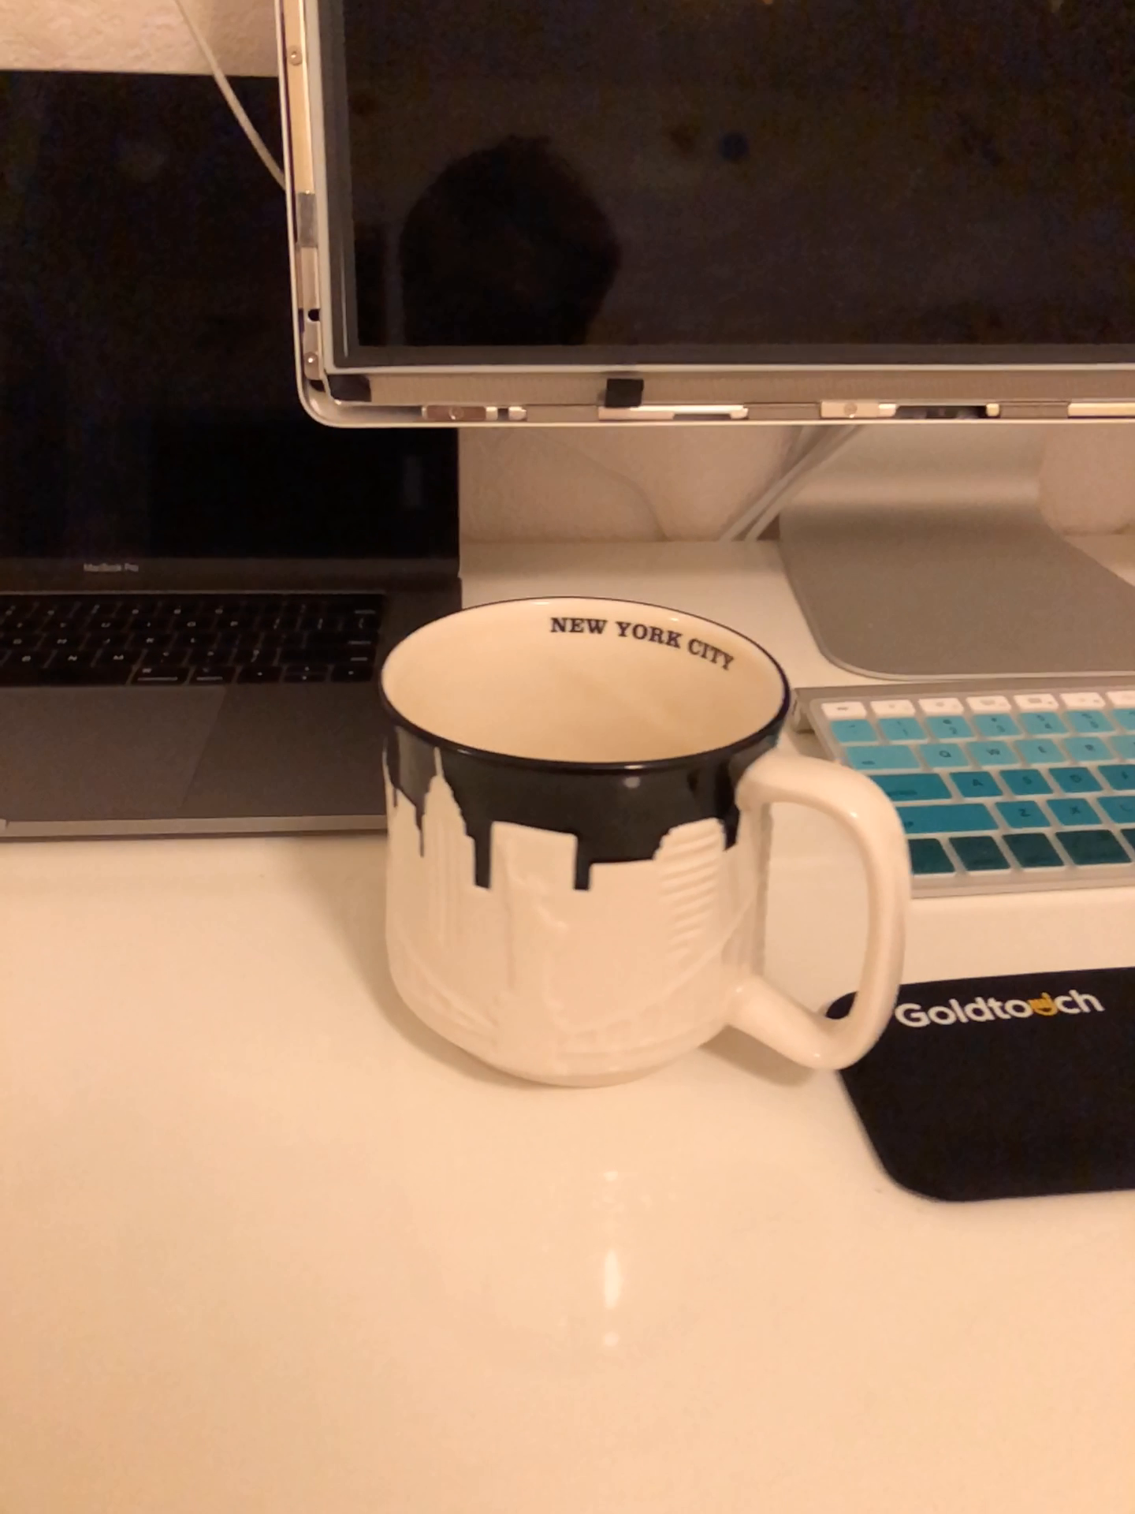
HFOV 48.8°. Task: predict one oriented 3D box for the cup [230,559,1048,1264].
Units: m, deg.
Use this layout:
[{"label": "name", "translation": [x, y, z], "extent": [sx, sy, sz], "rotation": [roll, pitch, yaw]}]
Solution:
[{"label": "cup", "translation": [0.019, 0.023, 0.315], "extent": [0.160, 0.090, 0.110], "rotation": [16, 32, 25]}]
